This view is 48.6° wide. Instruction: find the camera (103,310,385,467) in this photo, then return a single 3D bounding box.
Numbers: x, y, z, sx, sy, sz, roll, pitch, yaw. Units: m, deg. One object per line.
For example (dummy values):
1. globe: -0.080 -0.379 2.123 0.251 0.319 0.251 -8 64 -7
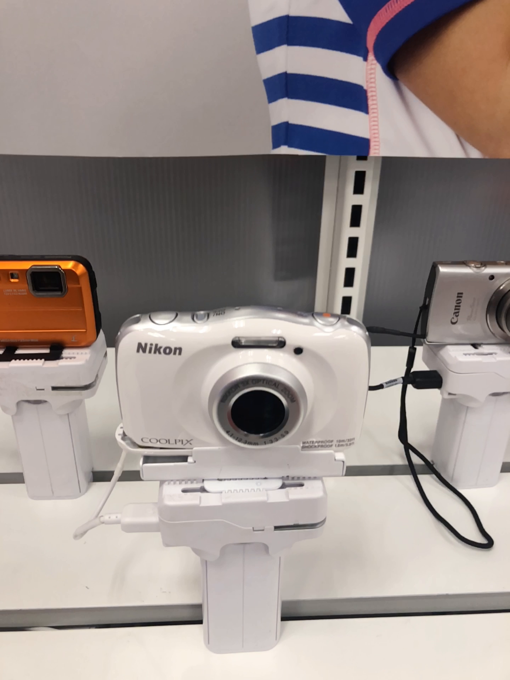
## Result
1. camera: -0.005 0.020 0.237 0.105 0.056 0.032 0 27 -4
